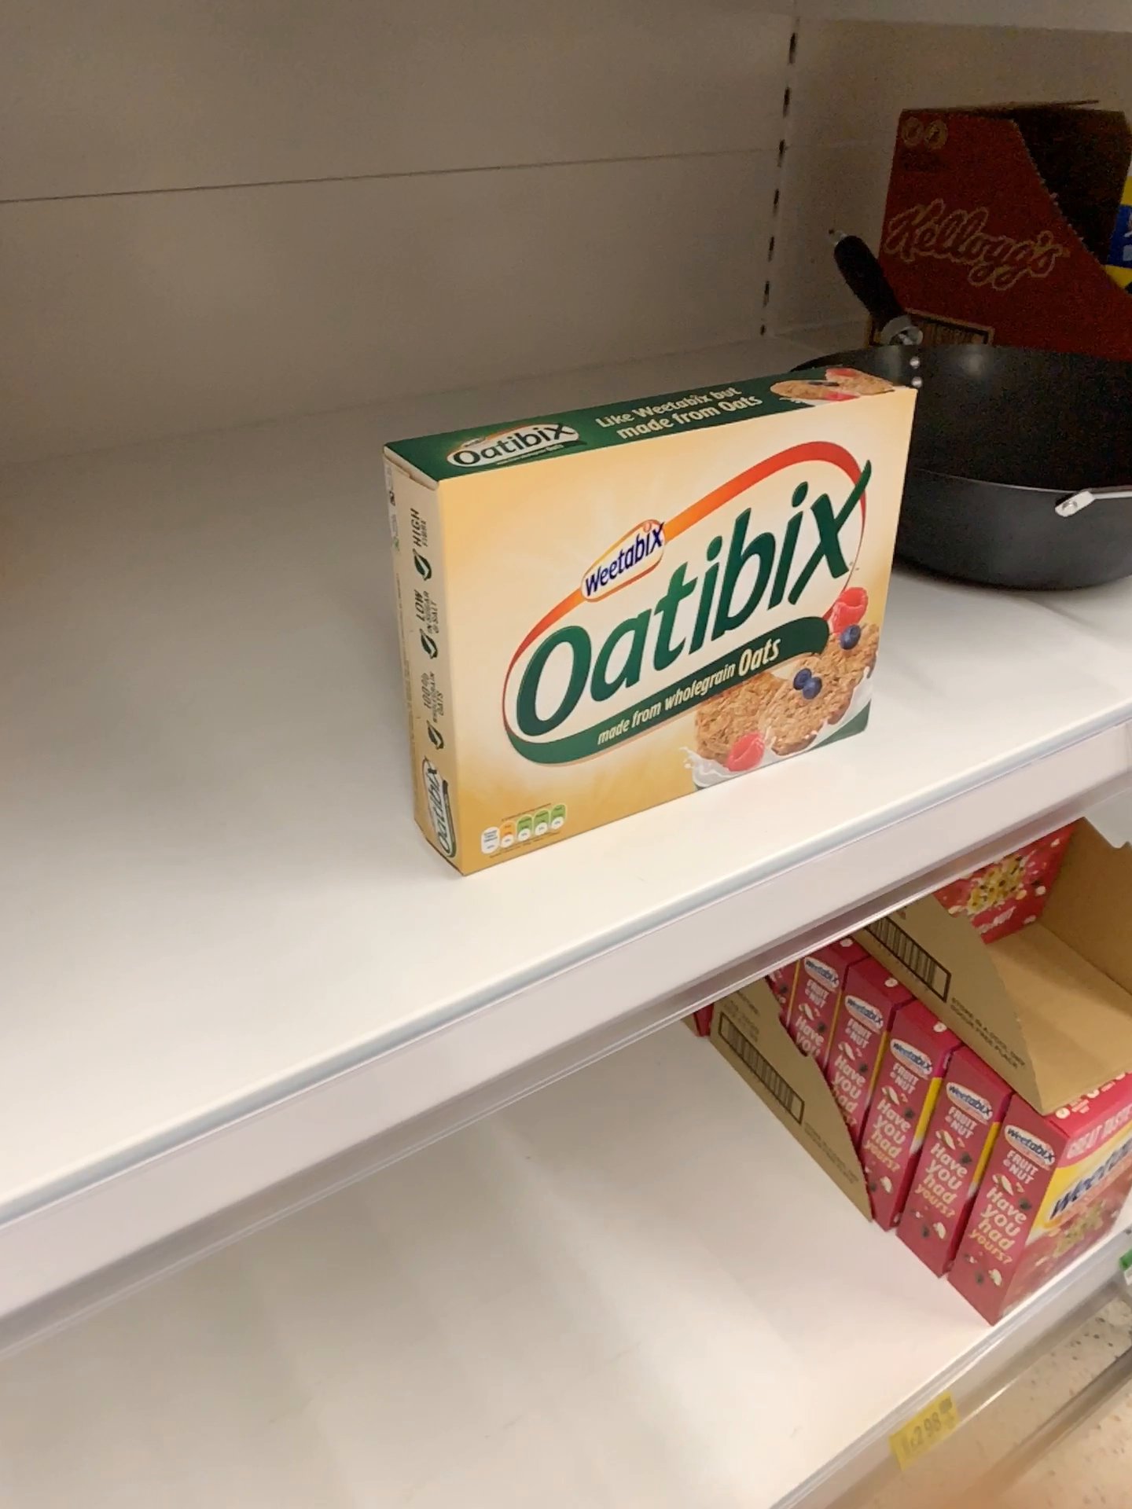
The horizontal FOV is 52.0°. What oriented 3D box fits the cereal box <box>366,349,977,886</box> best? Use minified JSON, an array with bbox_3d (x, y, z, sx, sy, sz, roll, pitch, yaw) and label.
[{"bbox_3d":[0.053,-0.073,0.541,0.271,0.178,0.070,-18,38,-27],"label":"cereal box"}]
